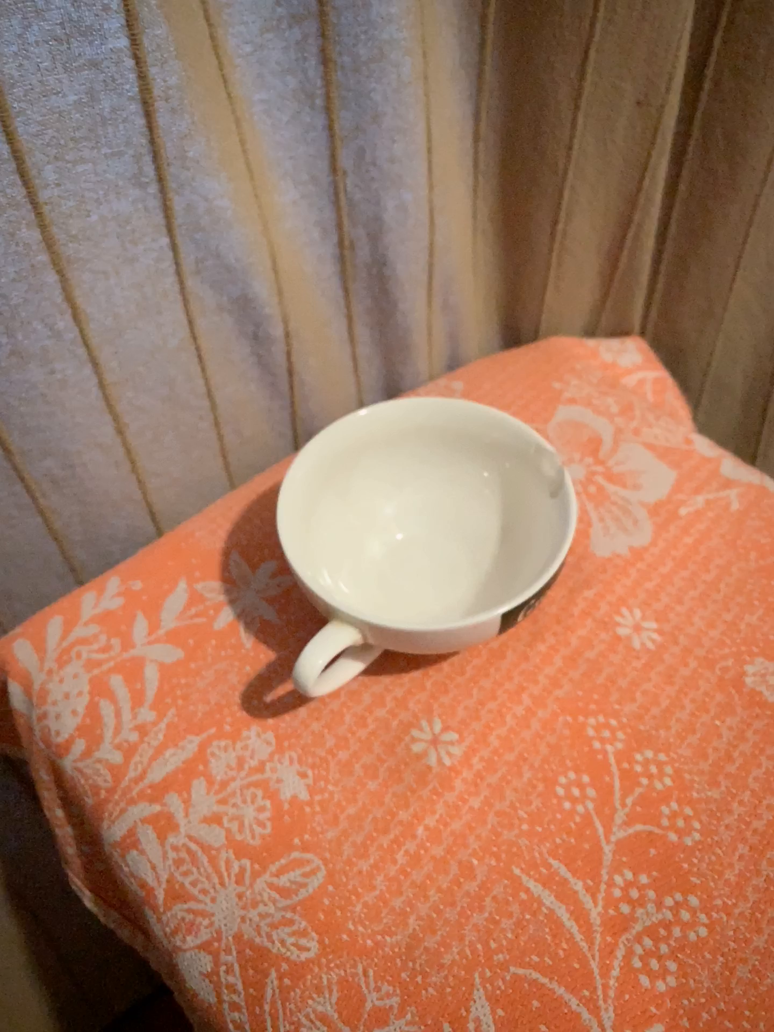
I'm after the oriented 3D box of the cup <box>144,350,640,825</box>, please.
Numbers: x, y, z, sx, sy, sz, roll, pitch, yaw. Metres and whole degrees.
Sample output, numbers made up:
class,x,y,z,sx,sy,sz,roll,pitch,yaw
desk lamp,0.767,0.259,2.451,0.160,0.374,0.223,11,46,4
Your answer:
class,x,y,z,sx,sy,sz,roll,pitch,yaw
cup,0.007,0.015,0.301,0.114,0.056,0.137,27,54,23
